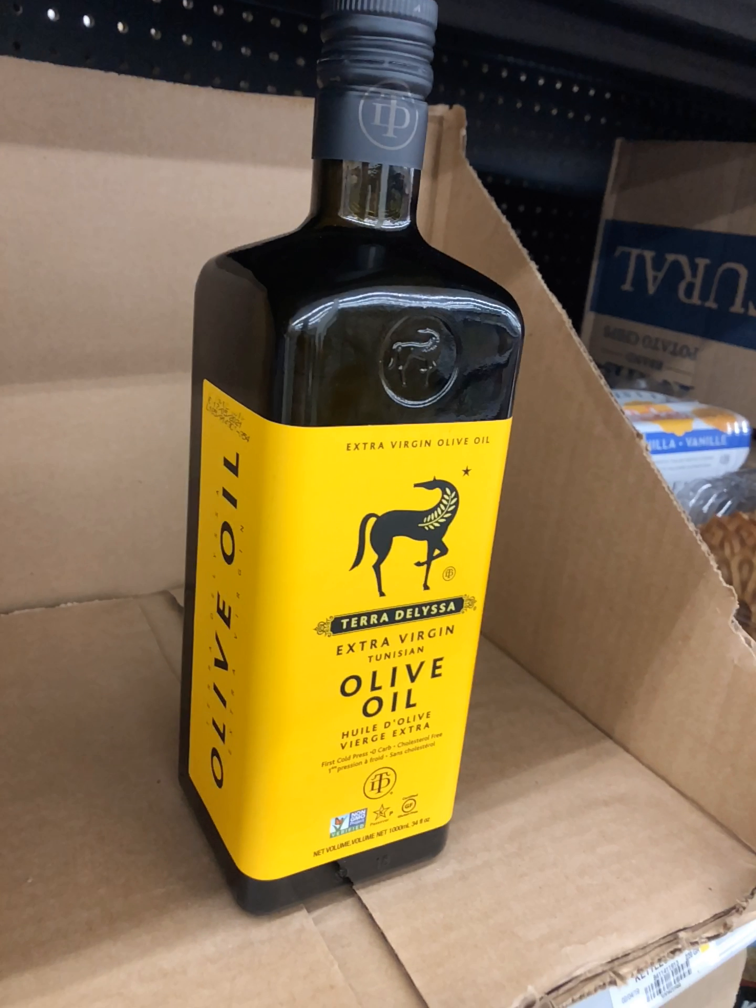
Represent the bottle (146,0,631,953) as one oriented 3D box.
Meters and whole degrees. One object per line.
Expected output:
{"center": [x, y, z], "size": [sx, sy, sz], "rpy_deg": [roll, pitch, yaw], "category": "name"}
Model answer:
{"center": [-0.016, -0.012, 0.271], "size": [0.090, 0.288, 0.090], "rpy_deg": [6, 21, -2], "category": "bottle"}
